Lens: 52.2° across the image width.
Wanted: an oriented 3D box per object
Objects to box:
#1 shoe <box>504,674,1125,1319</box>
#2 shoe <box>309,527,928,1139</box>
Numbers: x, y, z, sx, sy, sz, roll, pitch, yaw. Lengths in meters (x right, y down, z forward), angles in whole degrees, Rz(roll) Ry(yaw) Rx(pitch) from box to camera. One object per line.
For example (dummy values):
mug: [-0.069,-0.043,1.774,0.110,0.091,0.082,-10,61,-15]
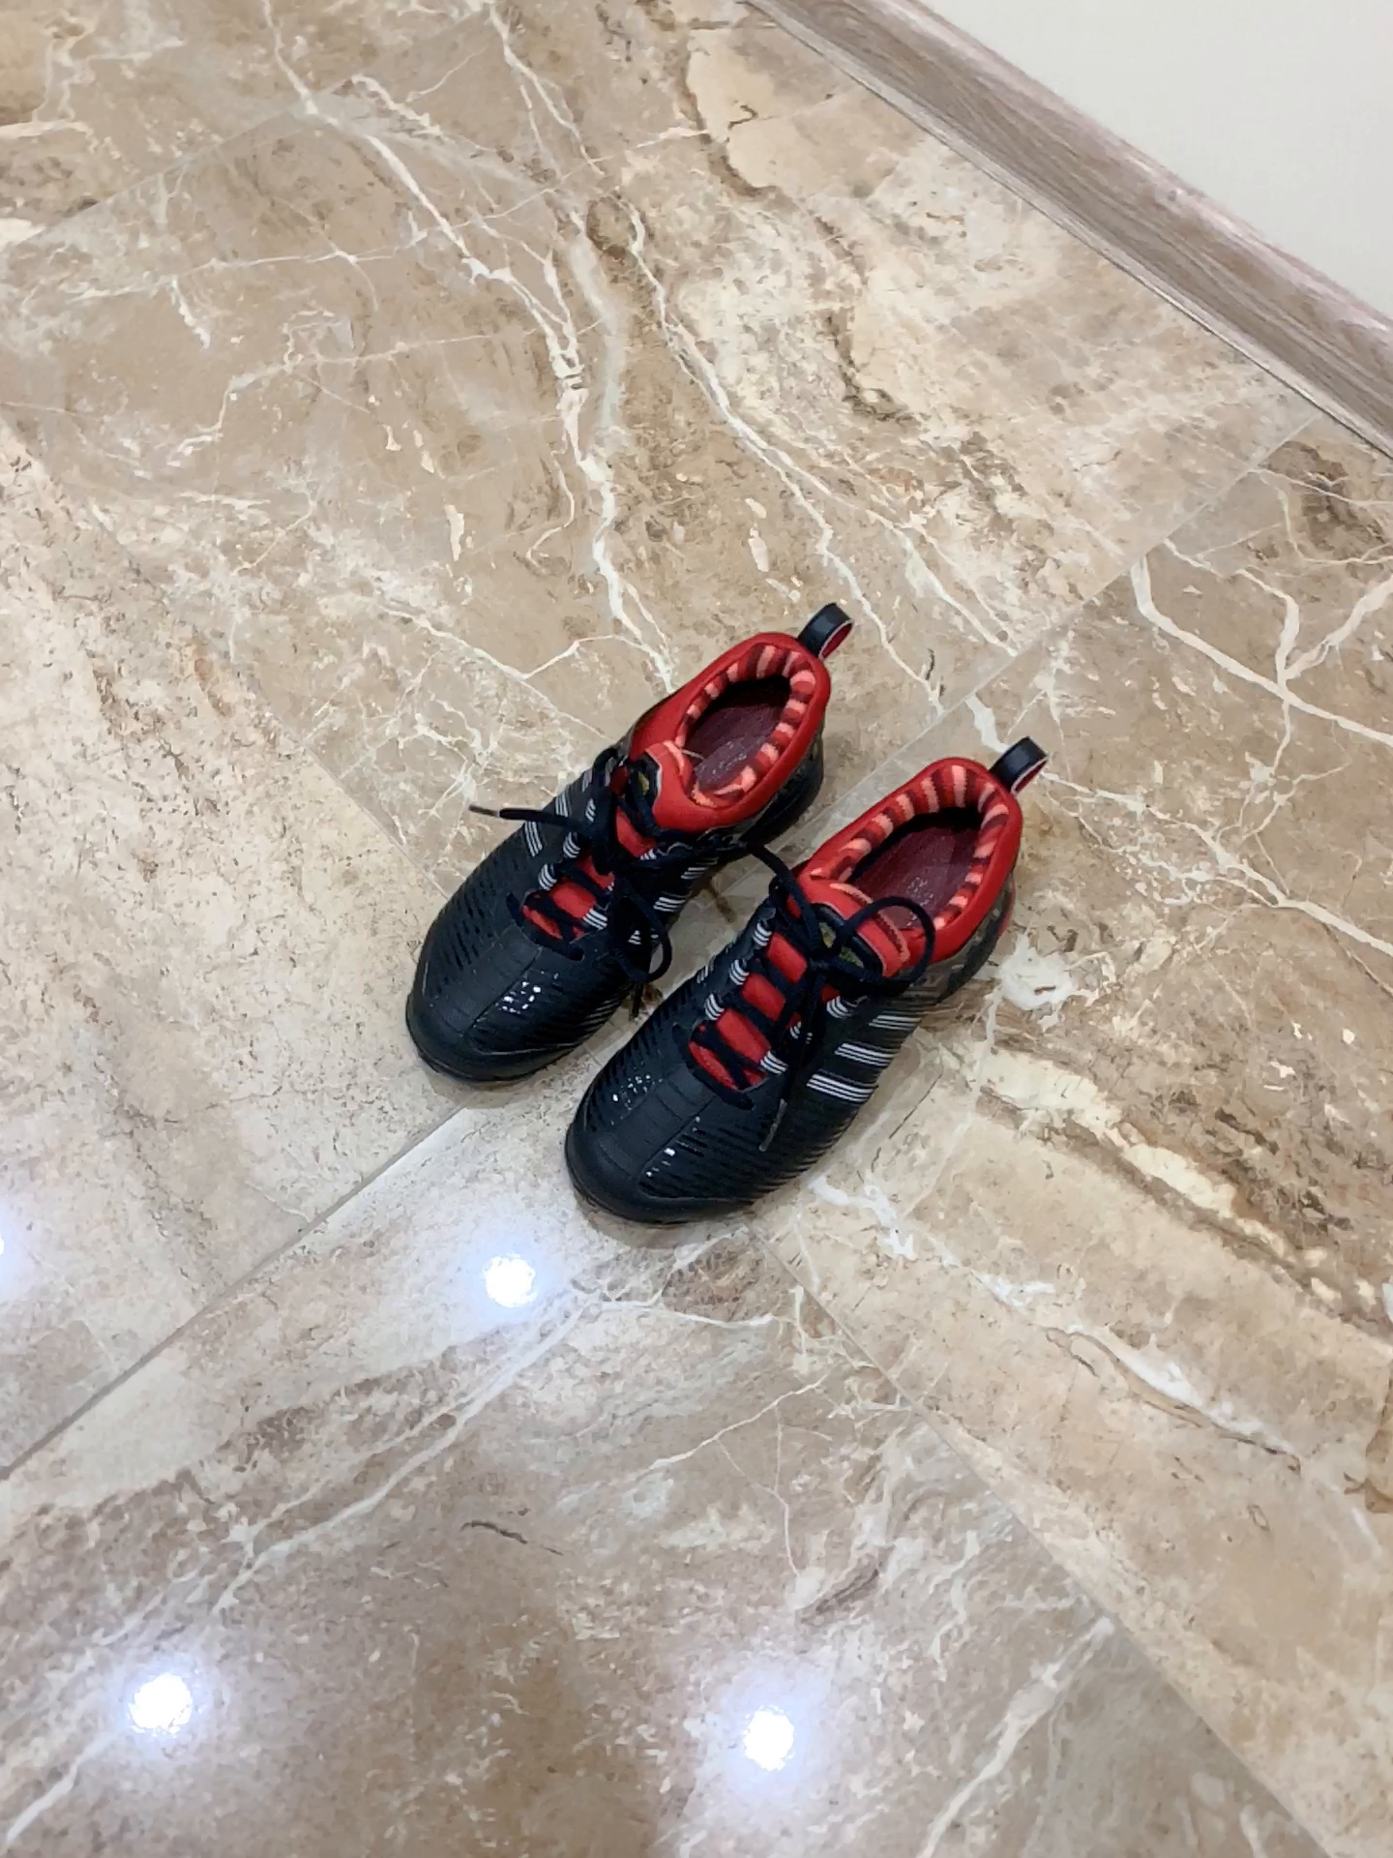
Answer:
shoe: [0.053,0.024,0.608,0.095,0.090,0.270,41,69,16]
shoe: [-0.027,-0.047,0.631,0.095,0.090,0.270,41,69,16]
